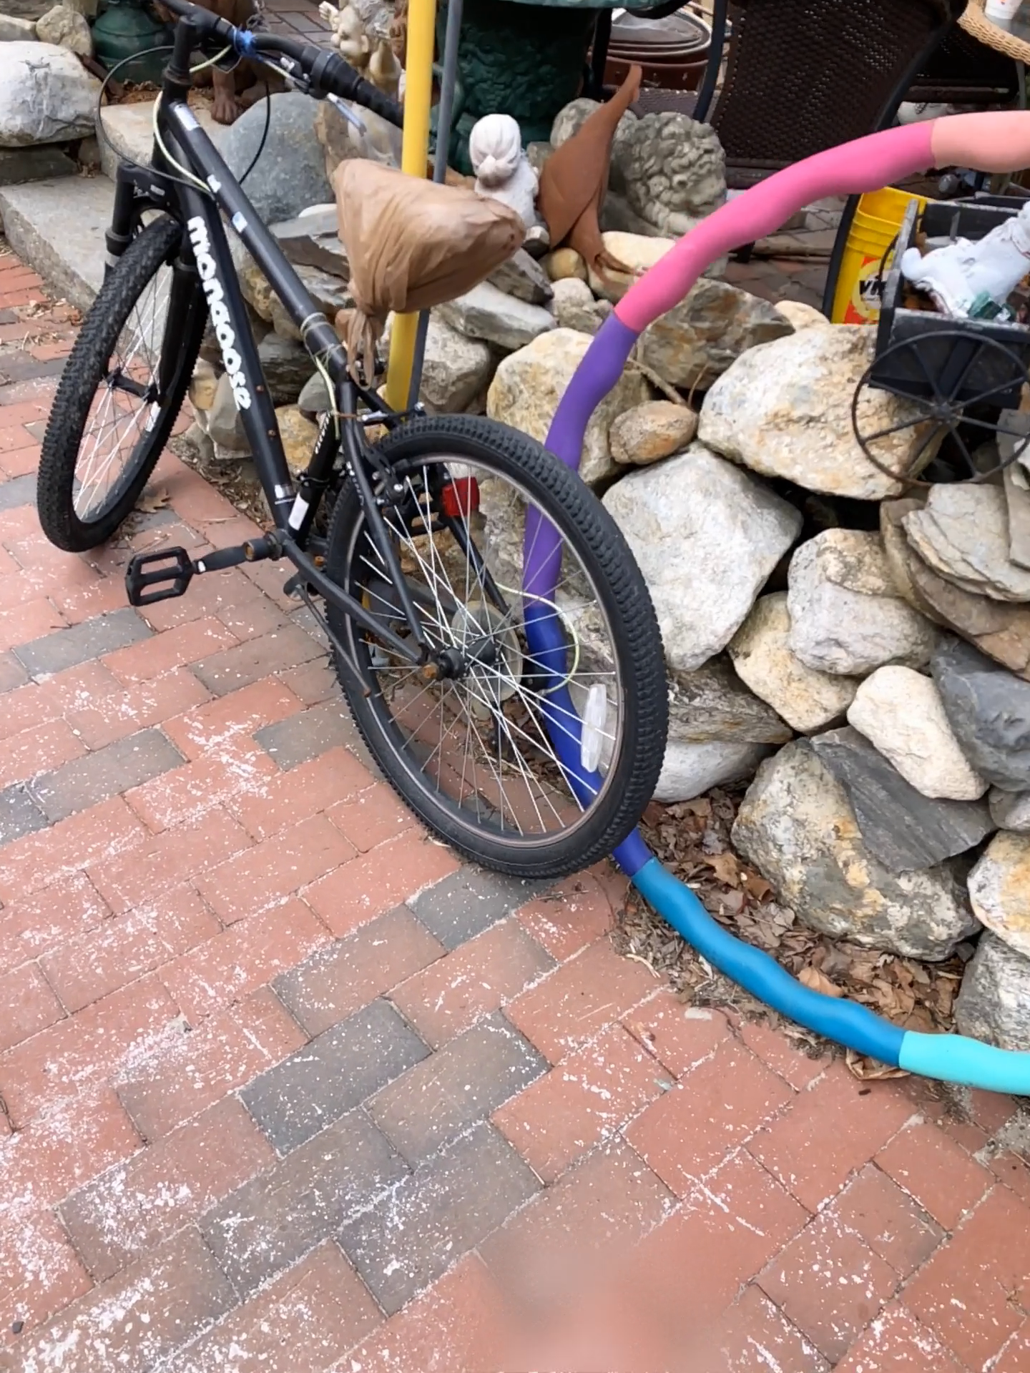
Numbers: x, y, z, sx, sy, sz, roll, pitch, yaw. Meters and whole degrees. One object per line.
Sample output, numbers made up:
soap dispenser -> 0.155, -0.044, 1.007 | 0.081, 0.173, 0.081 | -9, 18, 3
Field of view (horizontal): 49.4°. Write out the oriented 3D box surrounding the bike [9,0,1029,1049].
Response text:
bike -> -0.166, -0.430, 1.633 | 0.634, 0.872, 1.414 | -20, 50, -29
